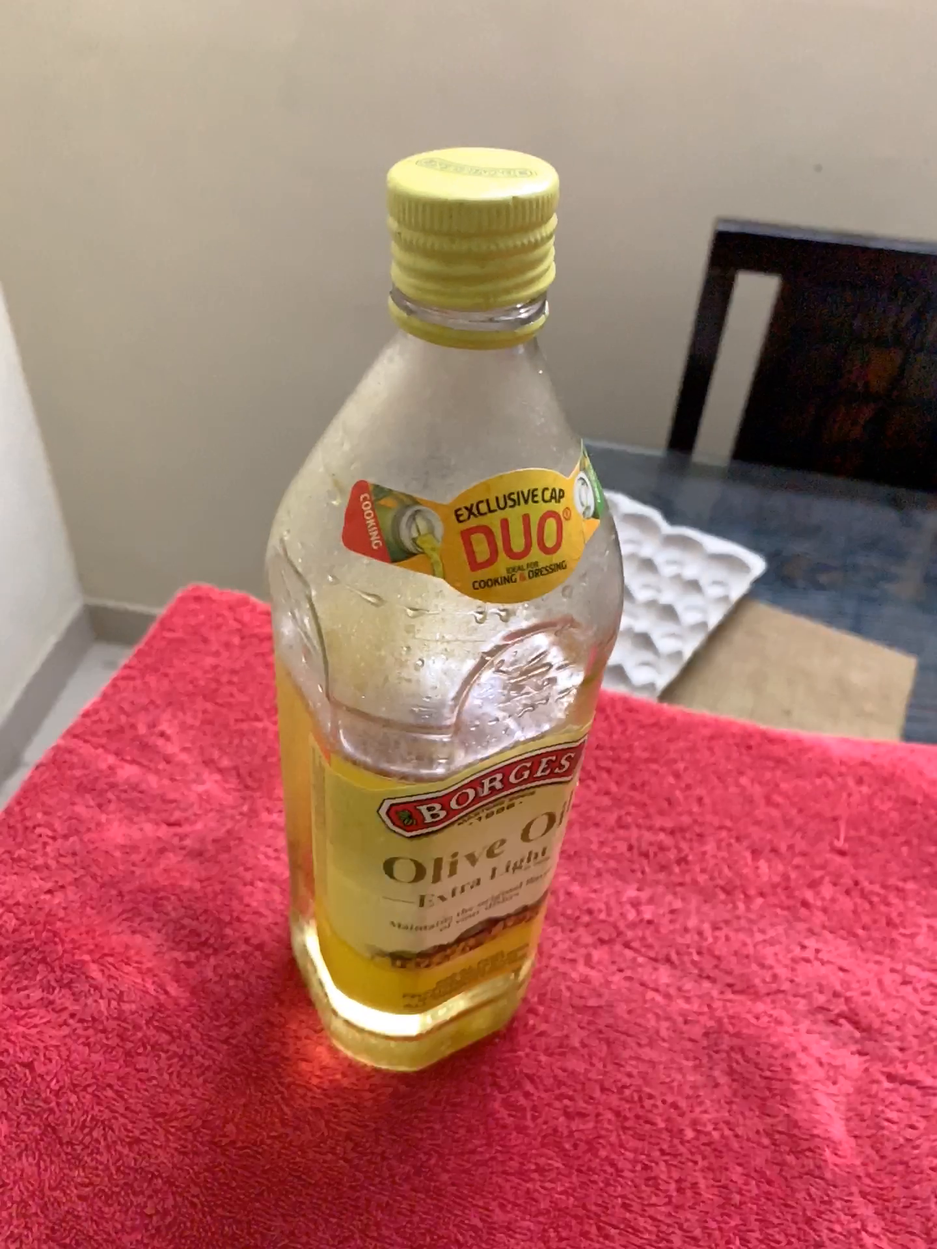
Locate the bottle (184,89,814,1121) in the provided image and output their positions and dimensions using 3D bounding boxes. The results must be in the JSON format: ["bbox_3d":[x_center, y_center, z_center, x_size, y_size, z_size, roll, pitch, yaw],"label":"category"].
[{"bbox_3d":[-0.006,0.023,0.250,0.080,0.268,0.070,-17,47,-22],"label":"bottle"}]
